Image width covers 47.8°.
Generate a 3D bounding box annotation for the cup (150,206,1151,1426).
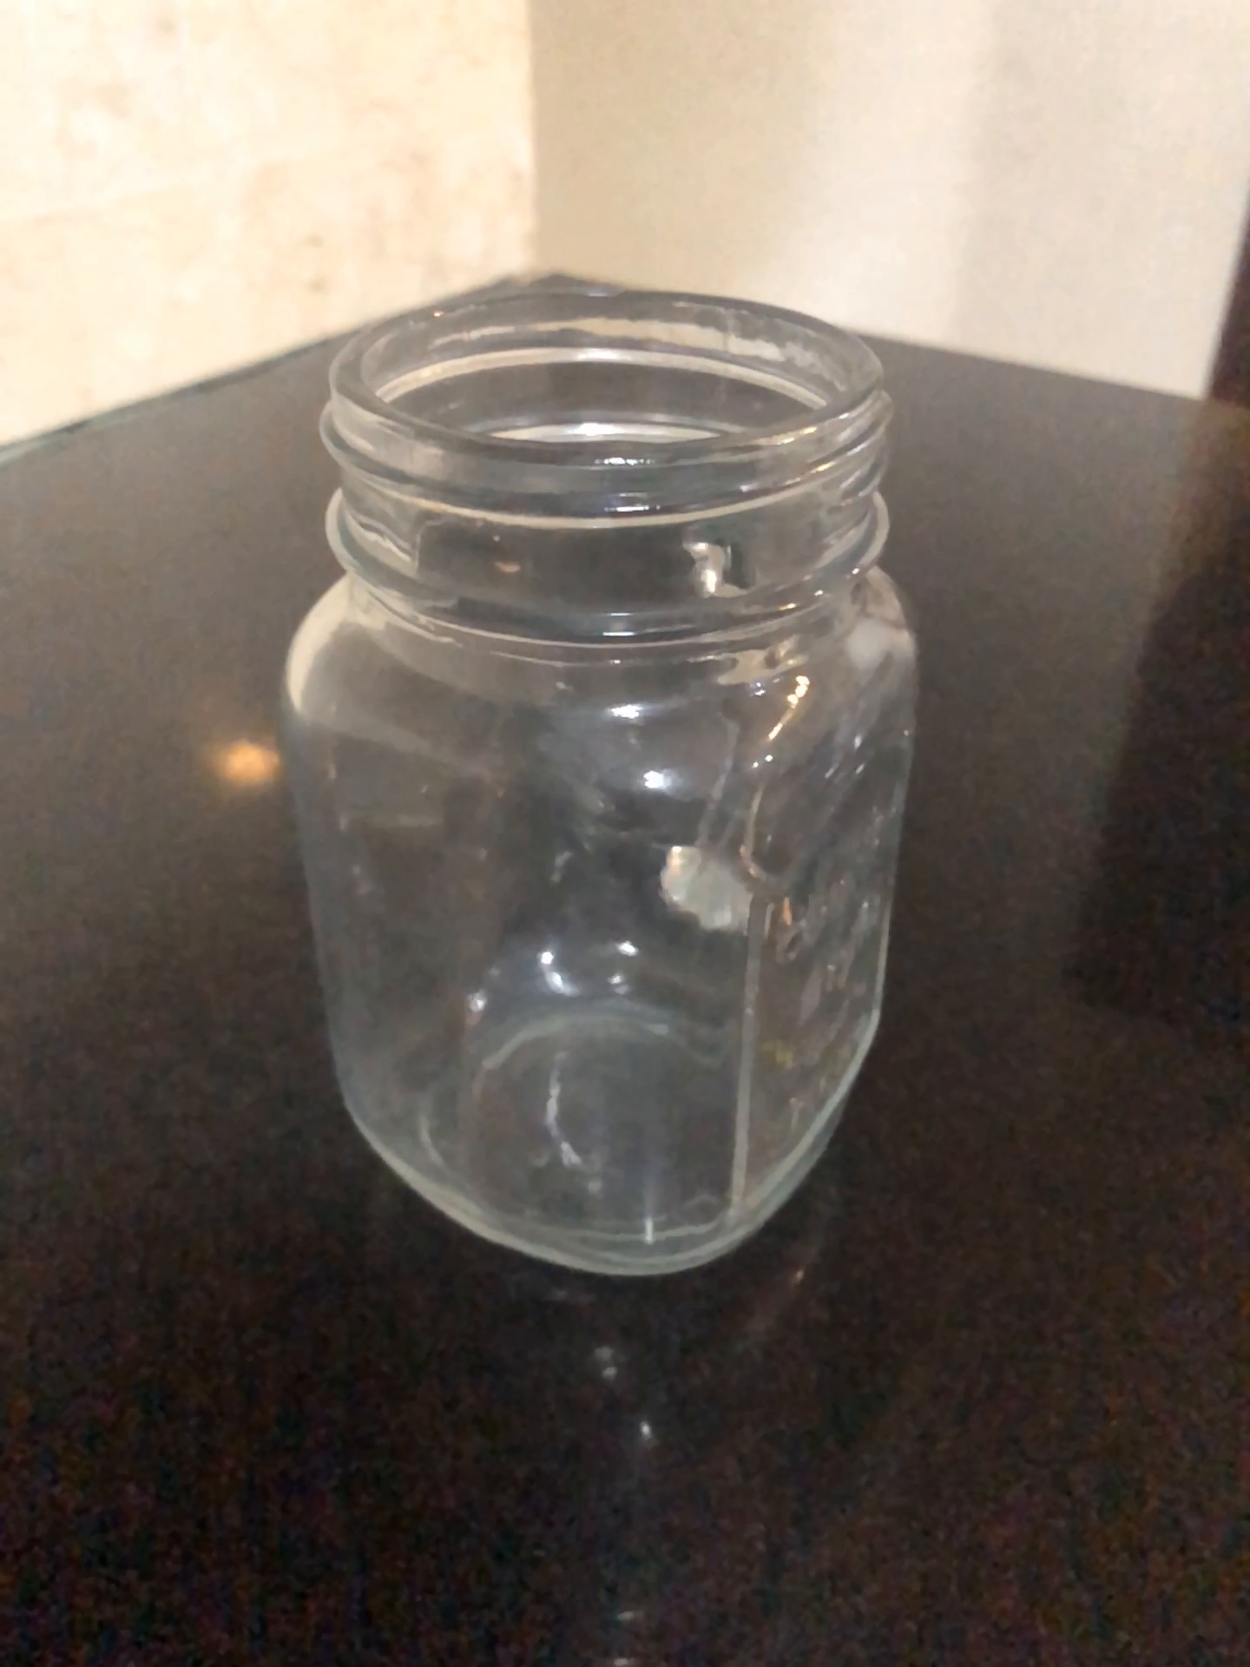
[{"bbox_3d":[0.011,-0.011,0.212,0.080,0.129,0.111,19,39,26],"label":"cup"}]
